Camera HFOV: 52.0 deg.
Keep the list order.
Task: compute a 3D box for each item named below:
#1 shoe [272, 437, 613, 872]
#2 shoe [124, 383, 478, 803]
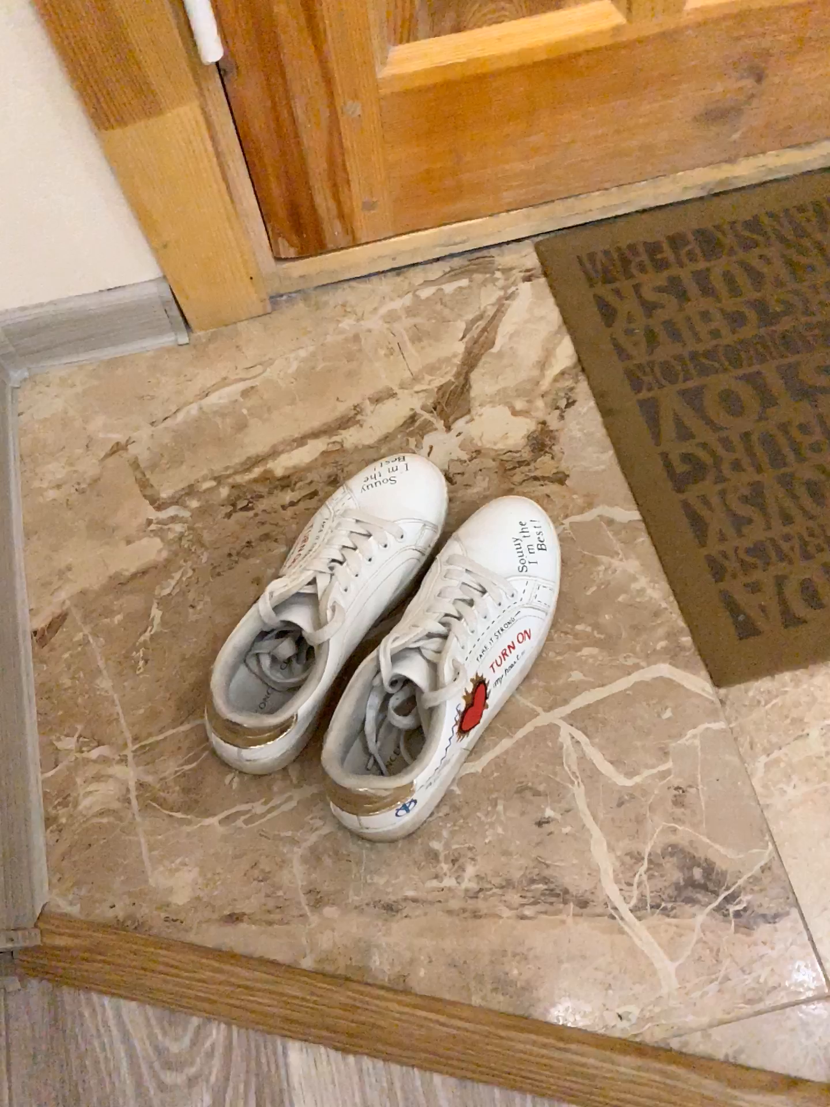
[{"bbox_3d":[0.025,0.061,0.553,0.092,0.080,0.256,27,71,15],"label":"shoe"},{"bbox_3d":[-0.063,0.022,0.566,0.092,0.080,0.256,28,71,15],"label":"shoe"}]
